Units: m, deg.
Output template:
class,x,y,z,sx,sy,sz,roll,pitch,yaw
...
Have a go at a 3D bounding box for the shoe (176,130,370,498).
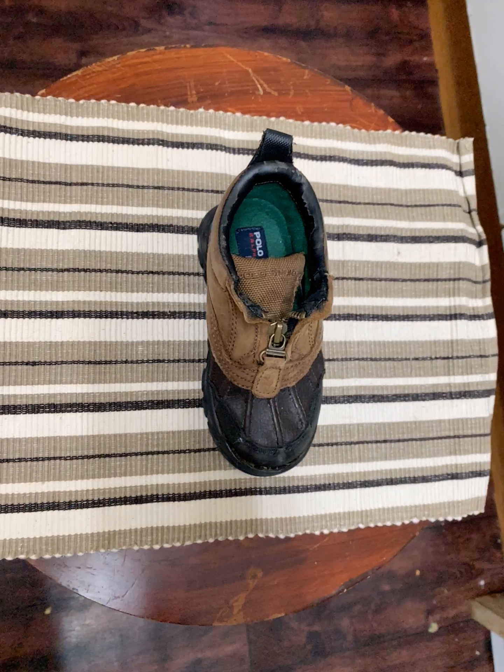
class,x,y,z,sx,sy,sz,roll,pitch,yaw
shoe,0.004,-0.011,0.305,0.080,0.090,0.180,-3,84,-13
